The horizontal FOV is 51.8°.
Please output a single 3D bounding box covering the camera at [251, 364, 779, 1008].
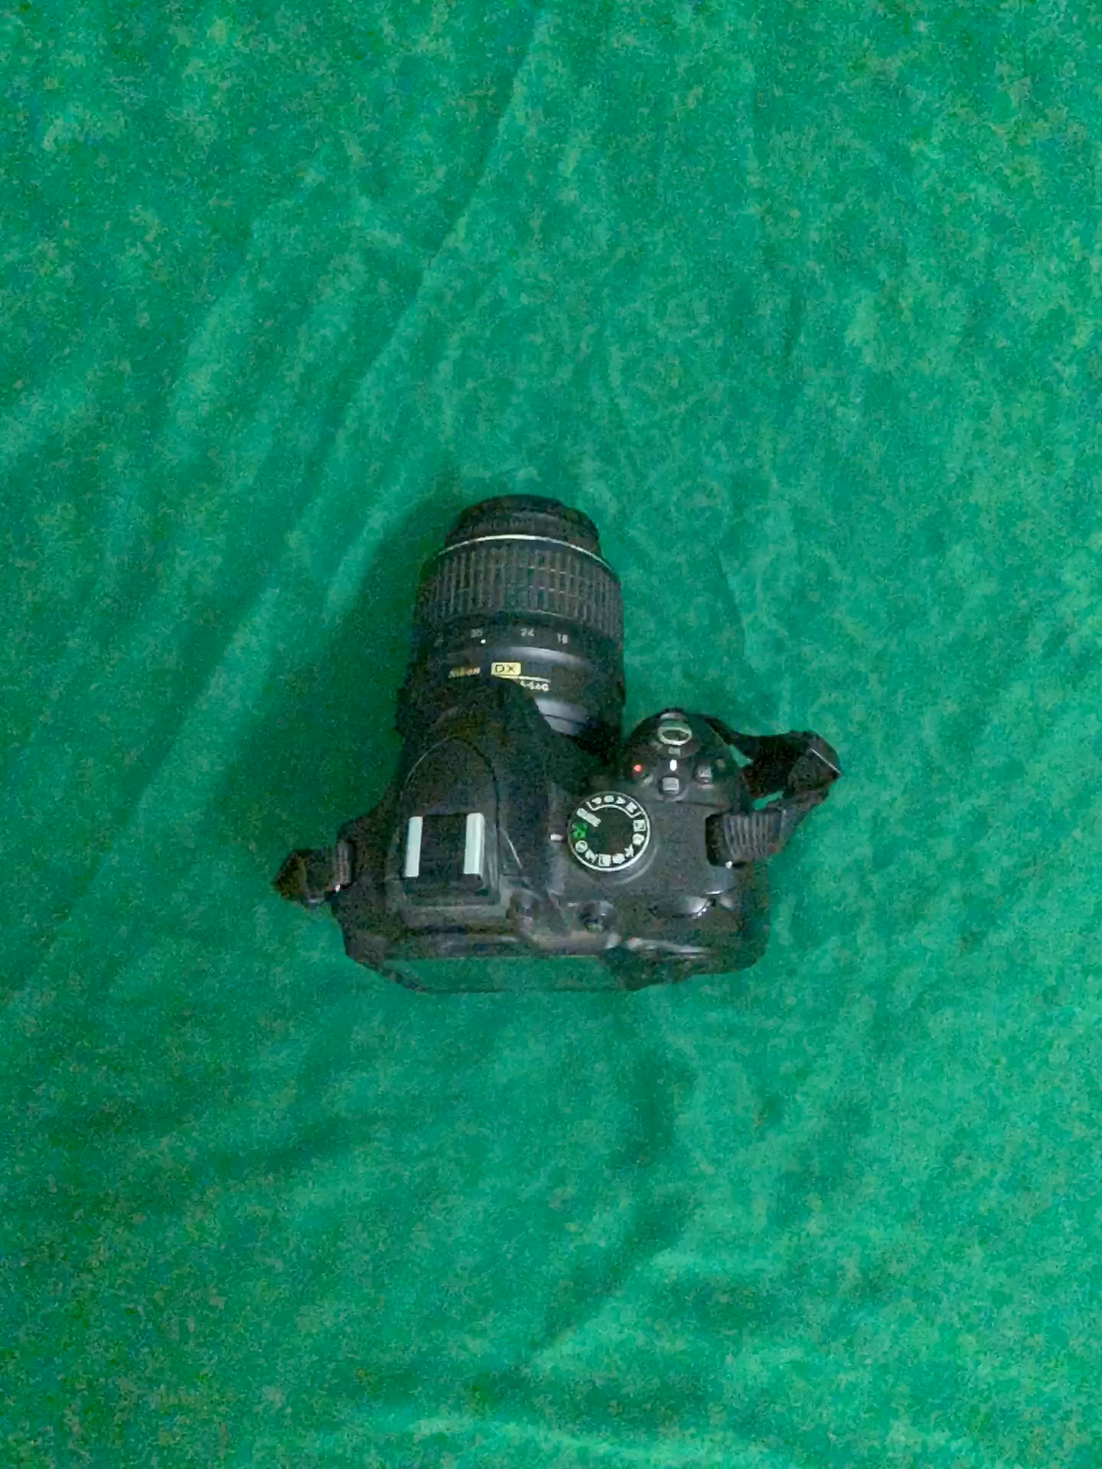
[{"bbox_3d":[-0.004,-0.006,0.353,0.133,0.100,0.166,-4,71,9],"label":"camera"}]
